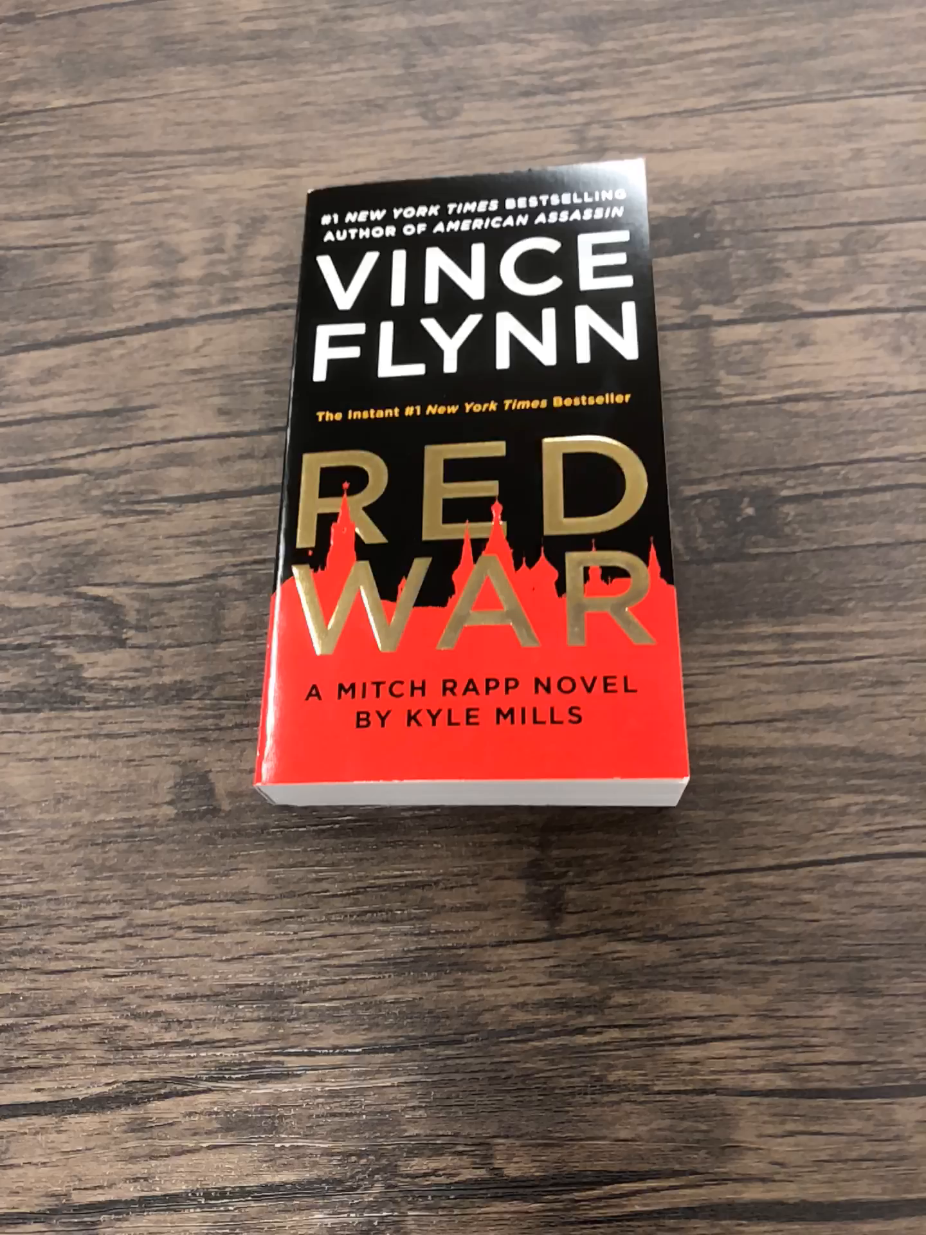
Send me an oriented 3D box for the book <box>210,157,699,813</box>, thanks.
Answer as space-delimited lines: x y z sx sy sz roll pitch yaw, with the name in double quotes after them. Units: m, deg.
-0.002 -0.042 0.283 0.110 0.030 0.183 -2 66 5 "book"
